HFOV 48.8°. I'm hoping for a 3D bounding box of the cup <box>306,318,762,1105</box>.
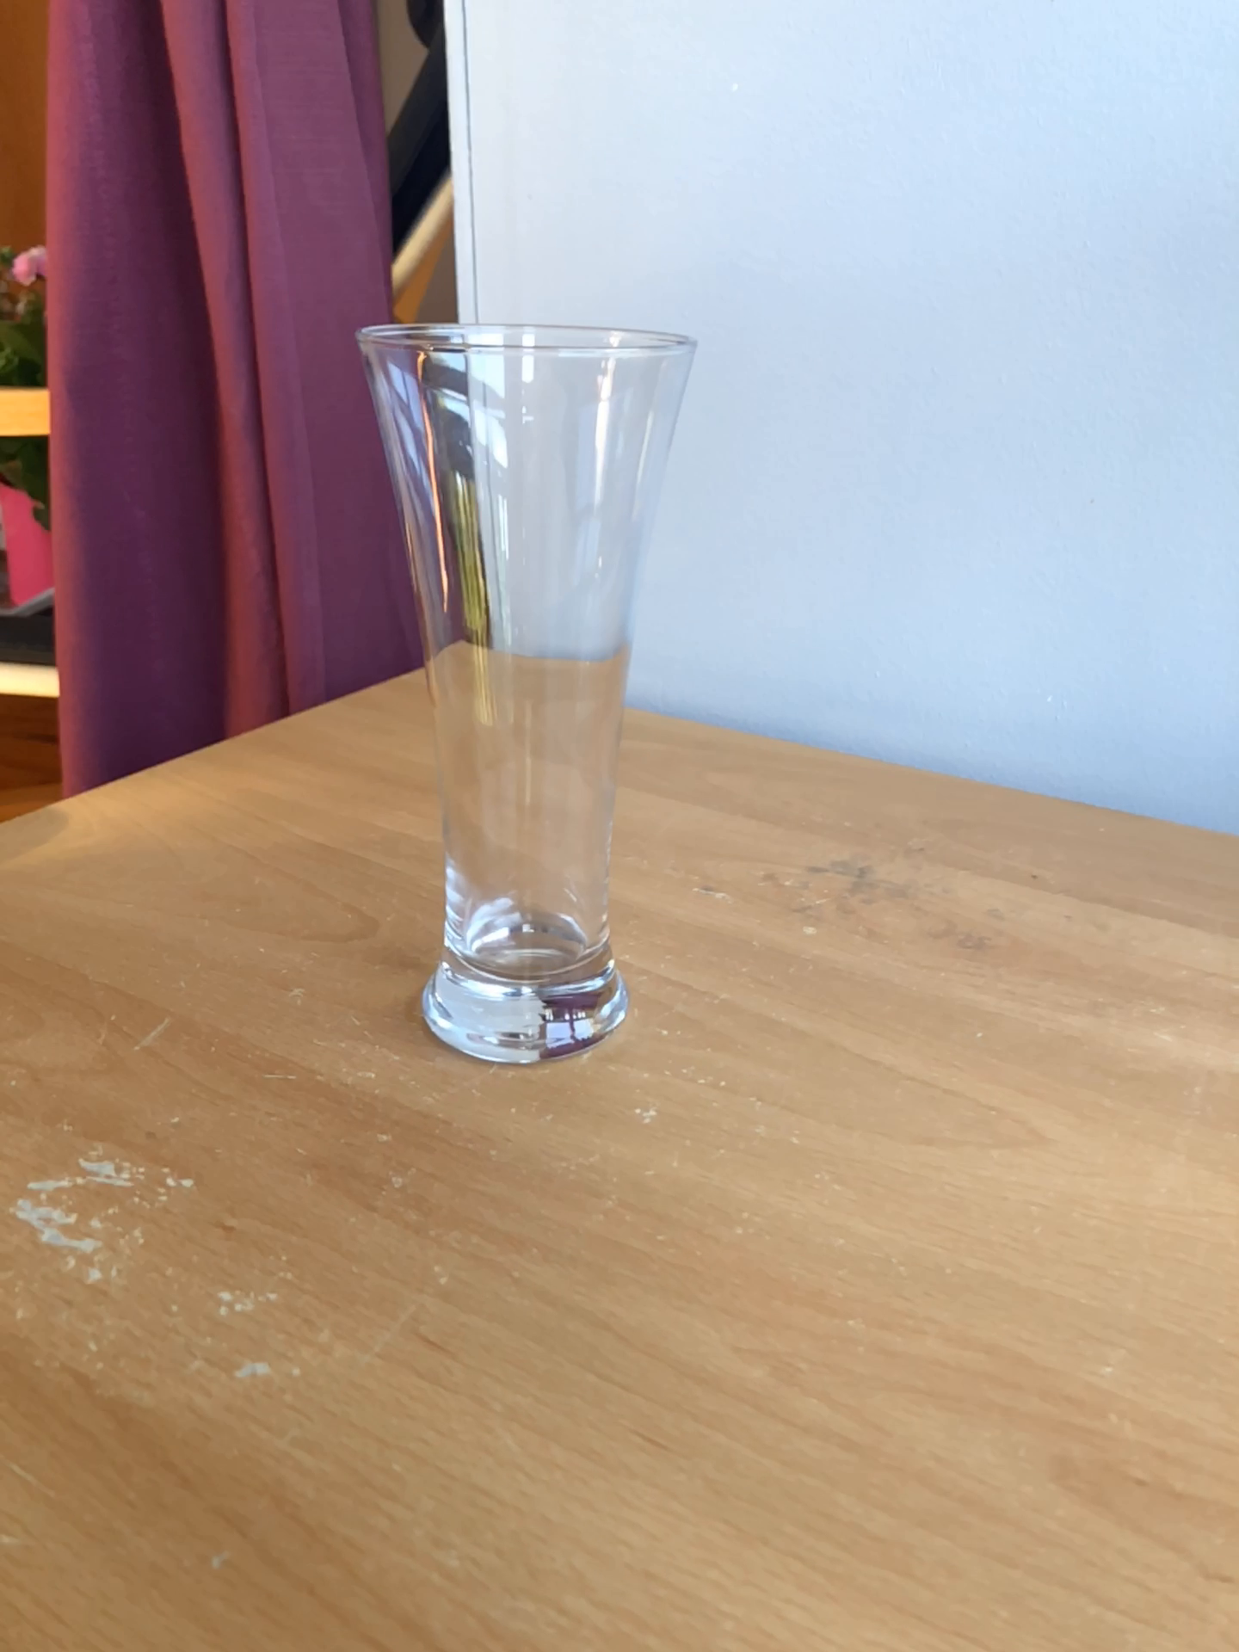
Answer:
[{"bbox_3d":[-0.024,-0.031,0.333,0.082,0.168,0.077,1,24,-1],"label":"cup"}]
